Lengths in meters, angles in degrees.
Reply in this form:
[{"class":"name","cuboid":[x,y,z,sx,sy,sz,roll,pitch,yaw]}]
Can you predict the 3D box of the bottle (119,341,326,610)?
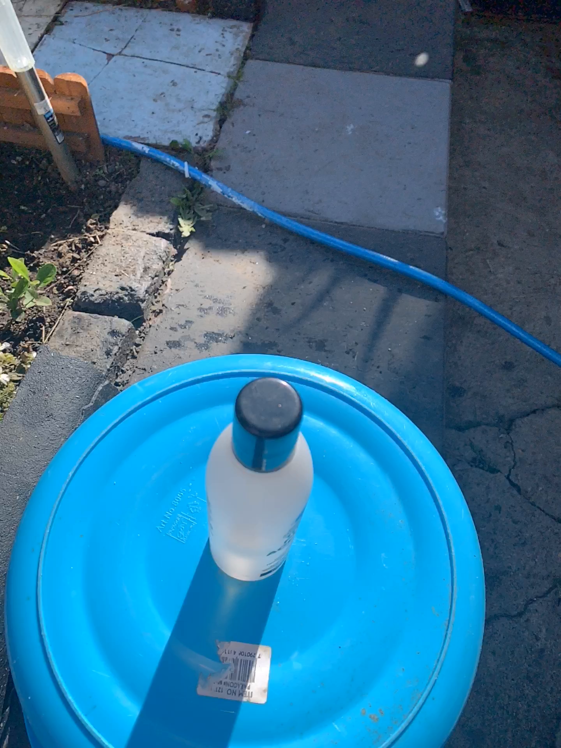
[{"class":"bottle","cuboid":[-0.020,0.064,0.289,0.060,0.179,0.060,0,59,-1]}]
